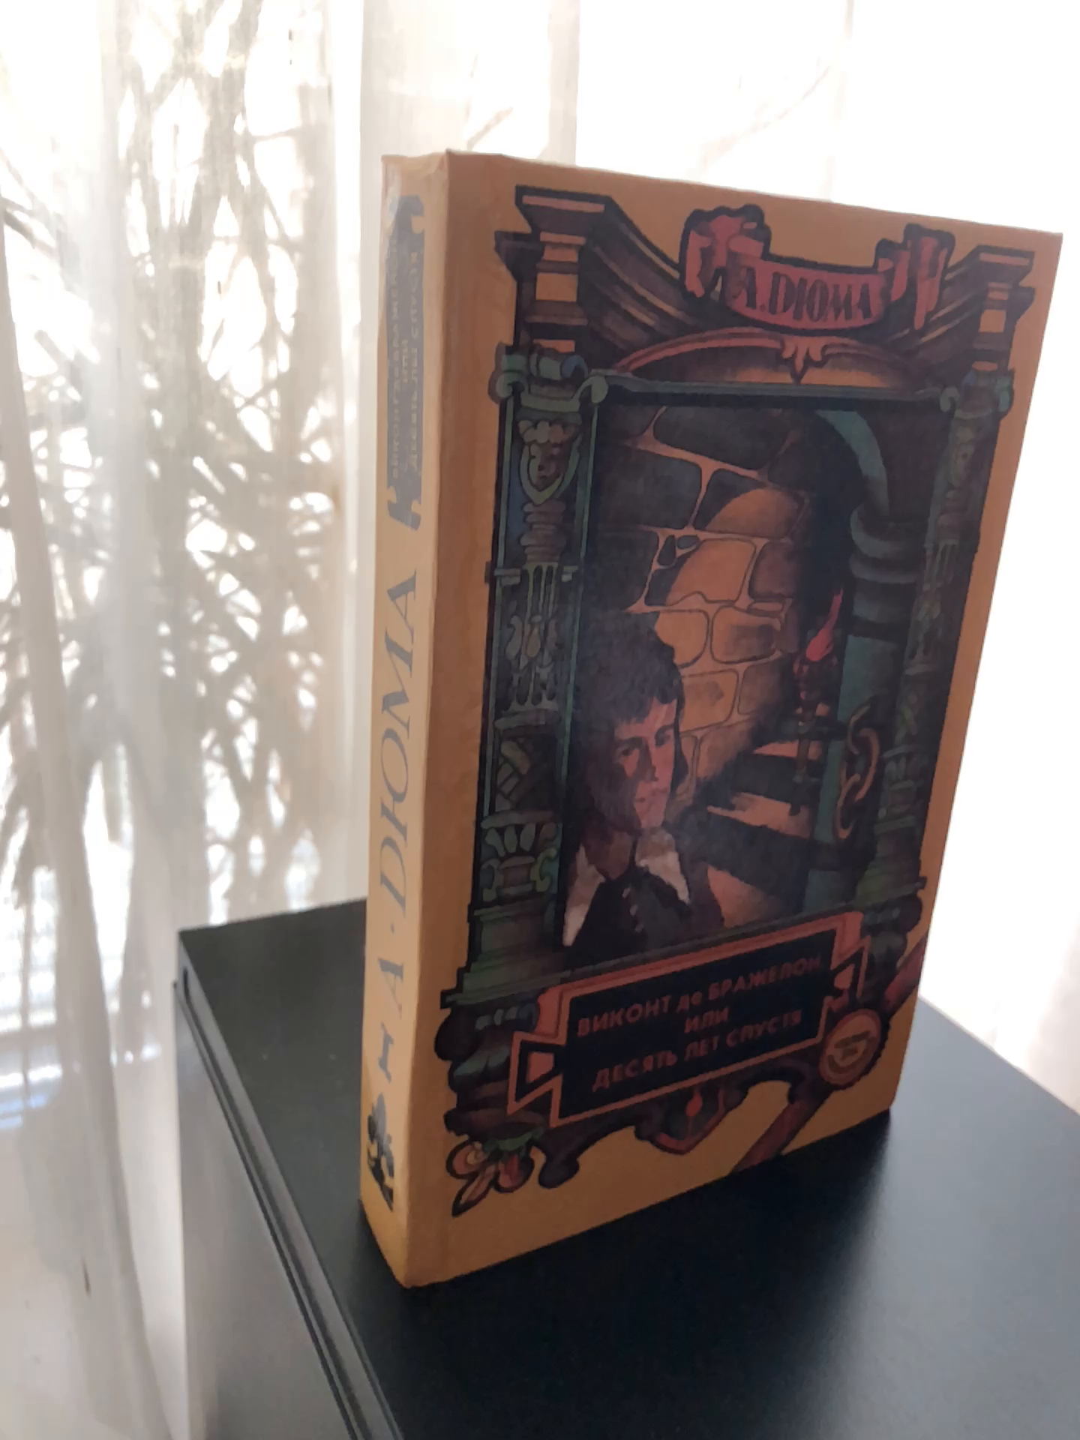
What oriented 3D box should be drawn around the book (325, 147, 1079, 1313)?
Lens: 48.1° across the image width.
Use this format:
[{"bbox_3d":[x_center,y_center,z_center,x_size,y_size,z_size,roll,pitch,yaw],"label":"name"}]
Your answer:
[{"bbox_3d":[0.031,0.002,0.254,0.143,0.209,0.045,-8,24,-29],"label":"book"}]
